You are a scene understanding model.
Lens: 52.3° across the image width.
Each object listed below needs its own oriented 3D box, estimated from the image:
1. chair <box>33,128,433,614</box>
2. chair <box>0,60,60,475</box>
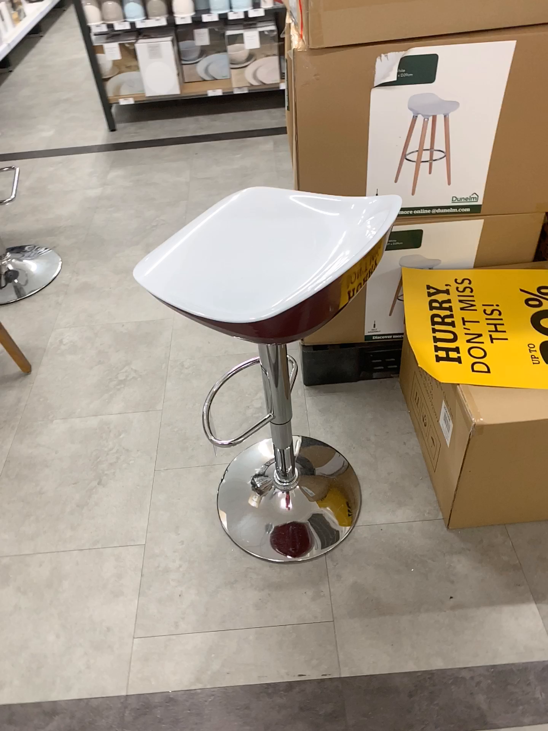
[{"bbox_3d":[-0.021,0.031,1.144,0.454,0.797,0.446,21,50,26],"label":"chair"},{"bbox_3d":[-1.173,-0.271,1.609,0.523,0.926,0.649,9,46,15],"label":"chair"}]
